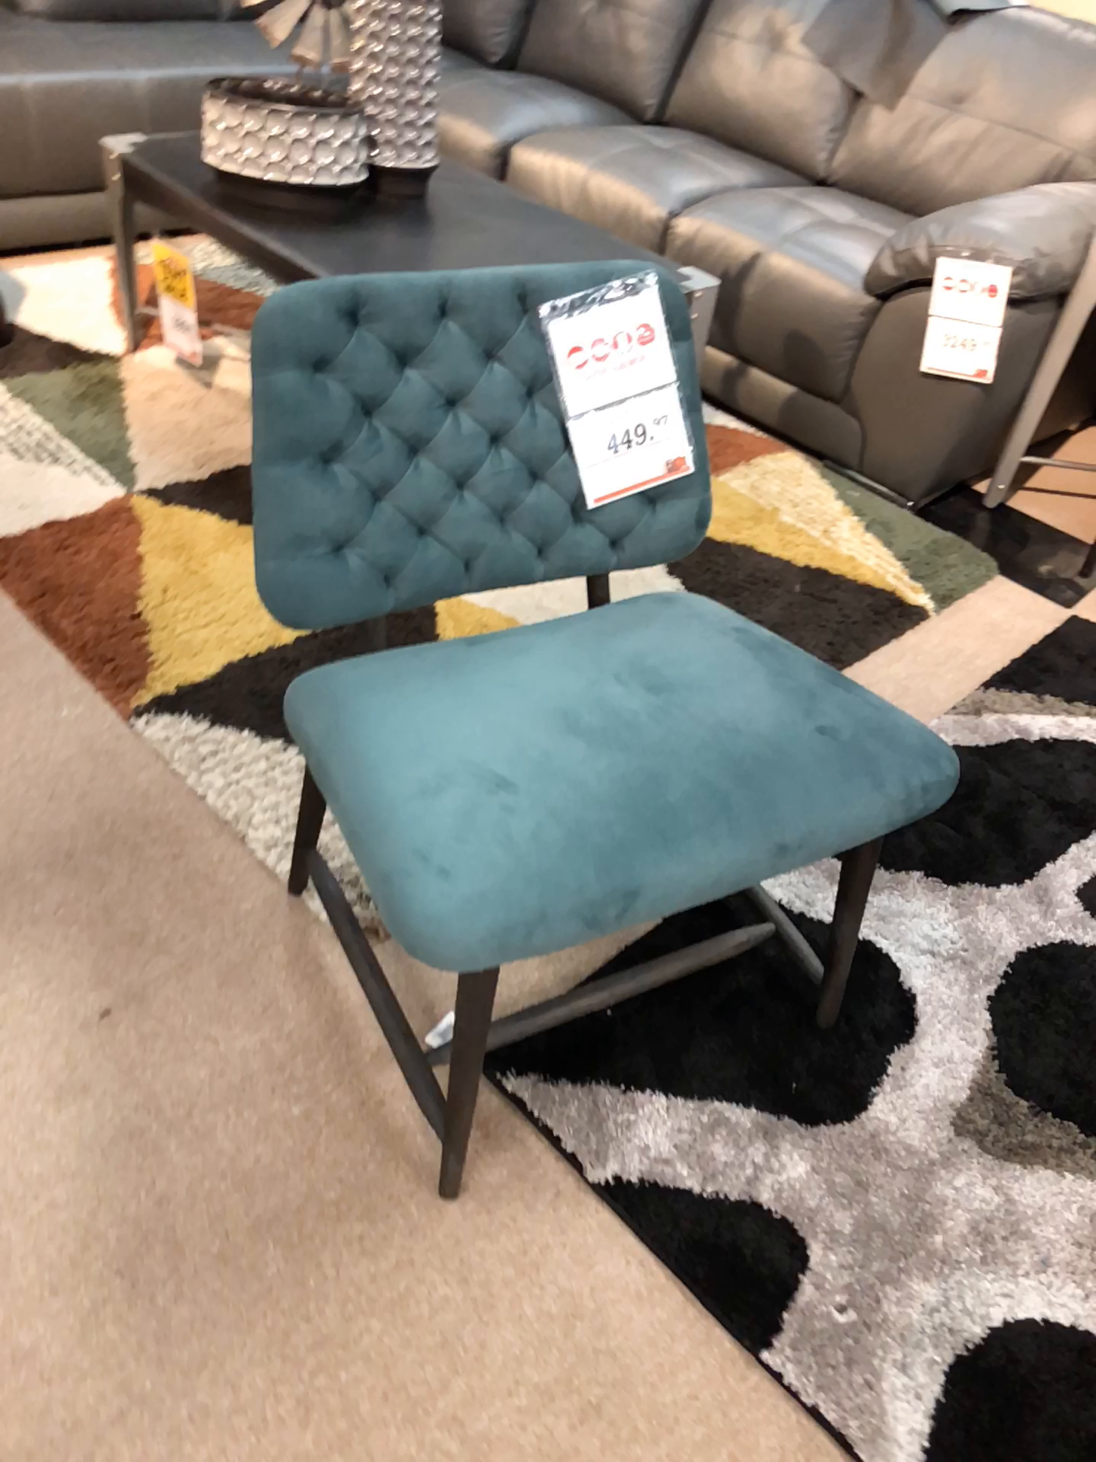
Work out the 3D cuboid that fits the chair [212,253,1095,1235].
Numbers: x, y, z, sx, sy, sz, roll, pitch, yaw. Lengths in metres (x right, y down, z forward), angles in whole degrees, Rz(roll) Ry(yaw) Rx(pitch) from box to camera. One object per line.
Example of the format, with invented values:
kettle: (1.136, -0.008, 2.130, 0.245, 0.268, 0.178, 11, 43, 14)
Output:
chair: (0.048, -0.020, 1.278, 0.640, 0.765, 0.533, -14, 45, -29)
